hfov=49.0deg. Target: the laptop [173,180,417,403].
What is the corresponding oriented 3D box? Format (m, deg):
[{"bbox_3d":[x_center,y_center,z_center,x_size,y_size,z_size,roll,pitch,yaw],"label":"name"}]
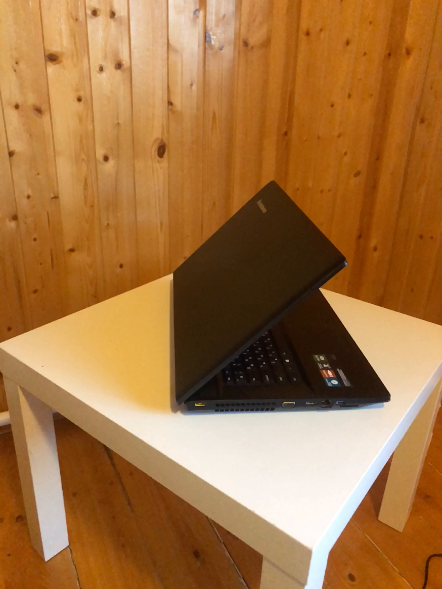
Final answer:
[{"bbox_3d":[0.064,-0.038,0.754,0.271,0.184,0.412,0,25,-6],"label":"laptop"}]
